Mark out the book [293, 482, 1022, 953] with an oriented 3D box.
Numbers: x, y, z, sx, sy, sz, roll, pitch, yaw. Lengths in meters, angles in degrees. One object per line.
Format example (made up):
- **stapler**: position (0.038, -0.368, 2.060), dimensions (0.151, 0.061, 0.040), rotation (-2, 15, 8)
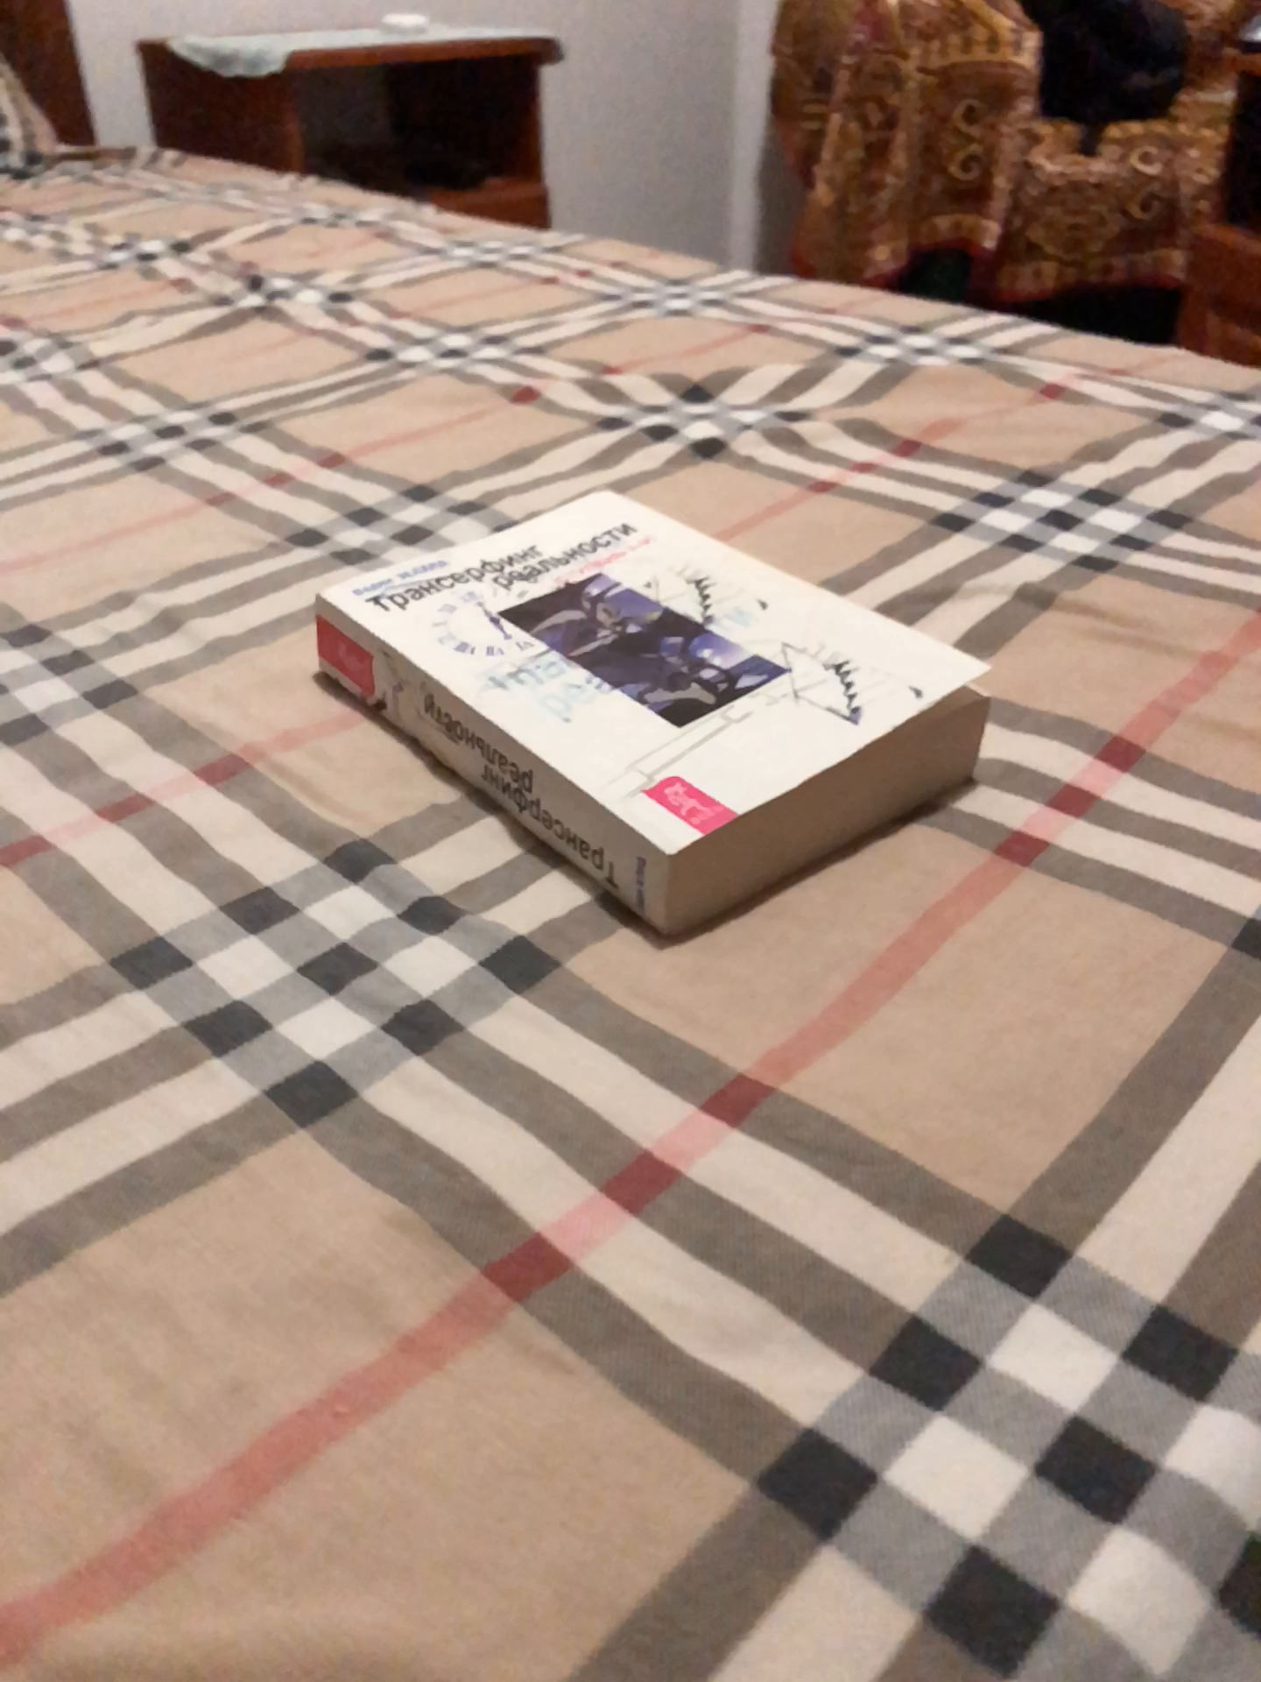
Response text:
- **book**: position (0.002, -0.057, 0.468), dimensions (0.143, 0.037, 0.203), rotation (-24, 43, -32)
